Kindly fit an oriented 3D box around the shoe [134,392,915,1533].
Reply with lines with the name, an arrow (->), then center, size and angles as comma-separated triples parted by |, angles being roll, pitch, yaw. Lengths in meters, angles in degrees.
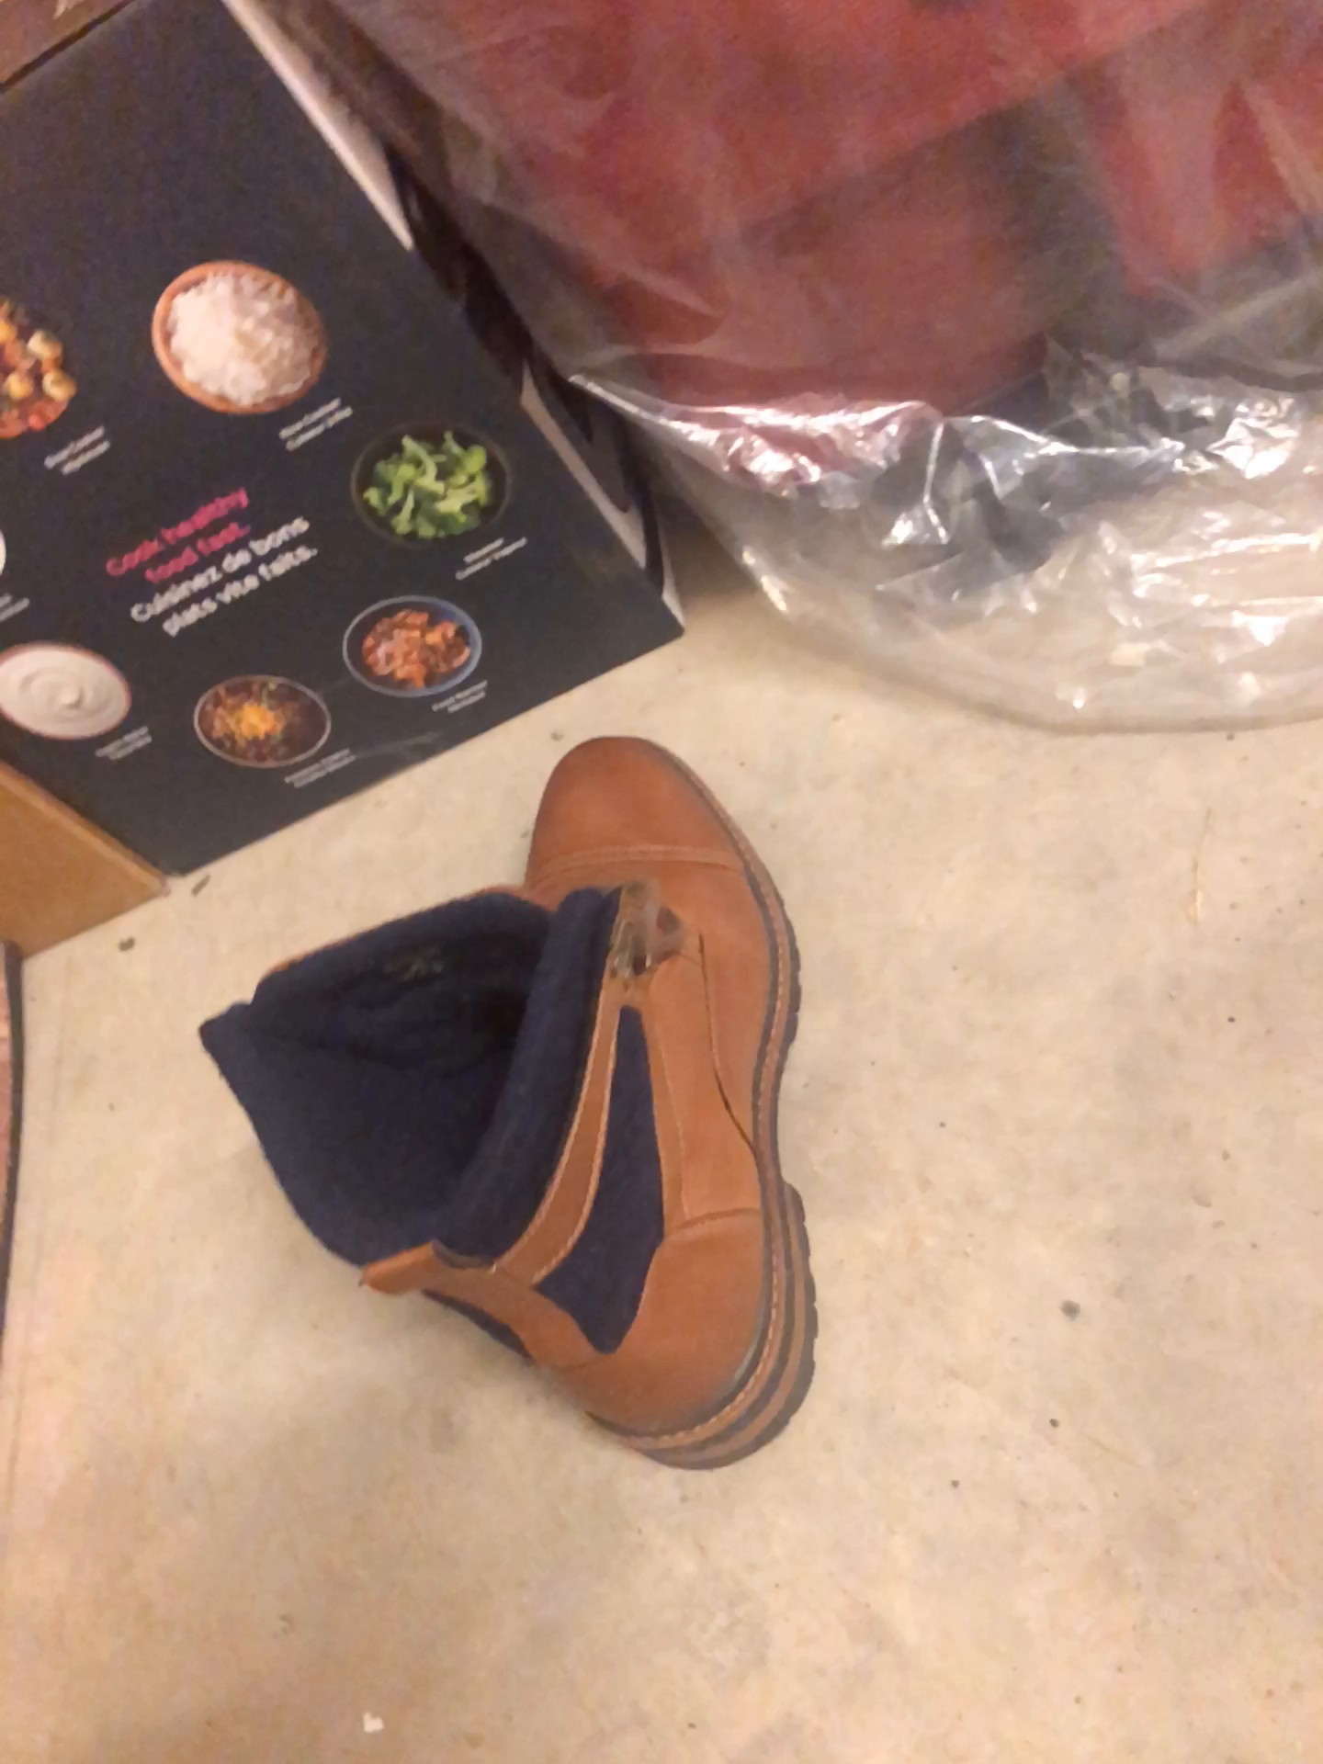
shoe -> -0.039, 0.030, 0.496 | 0.132, 0.201, 0.304 | -21, 52, 18
